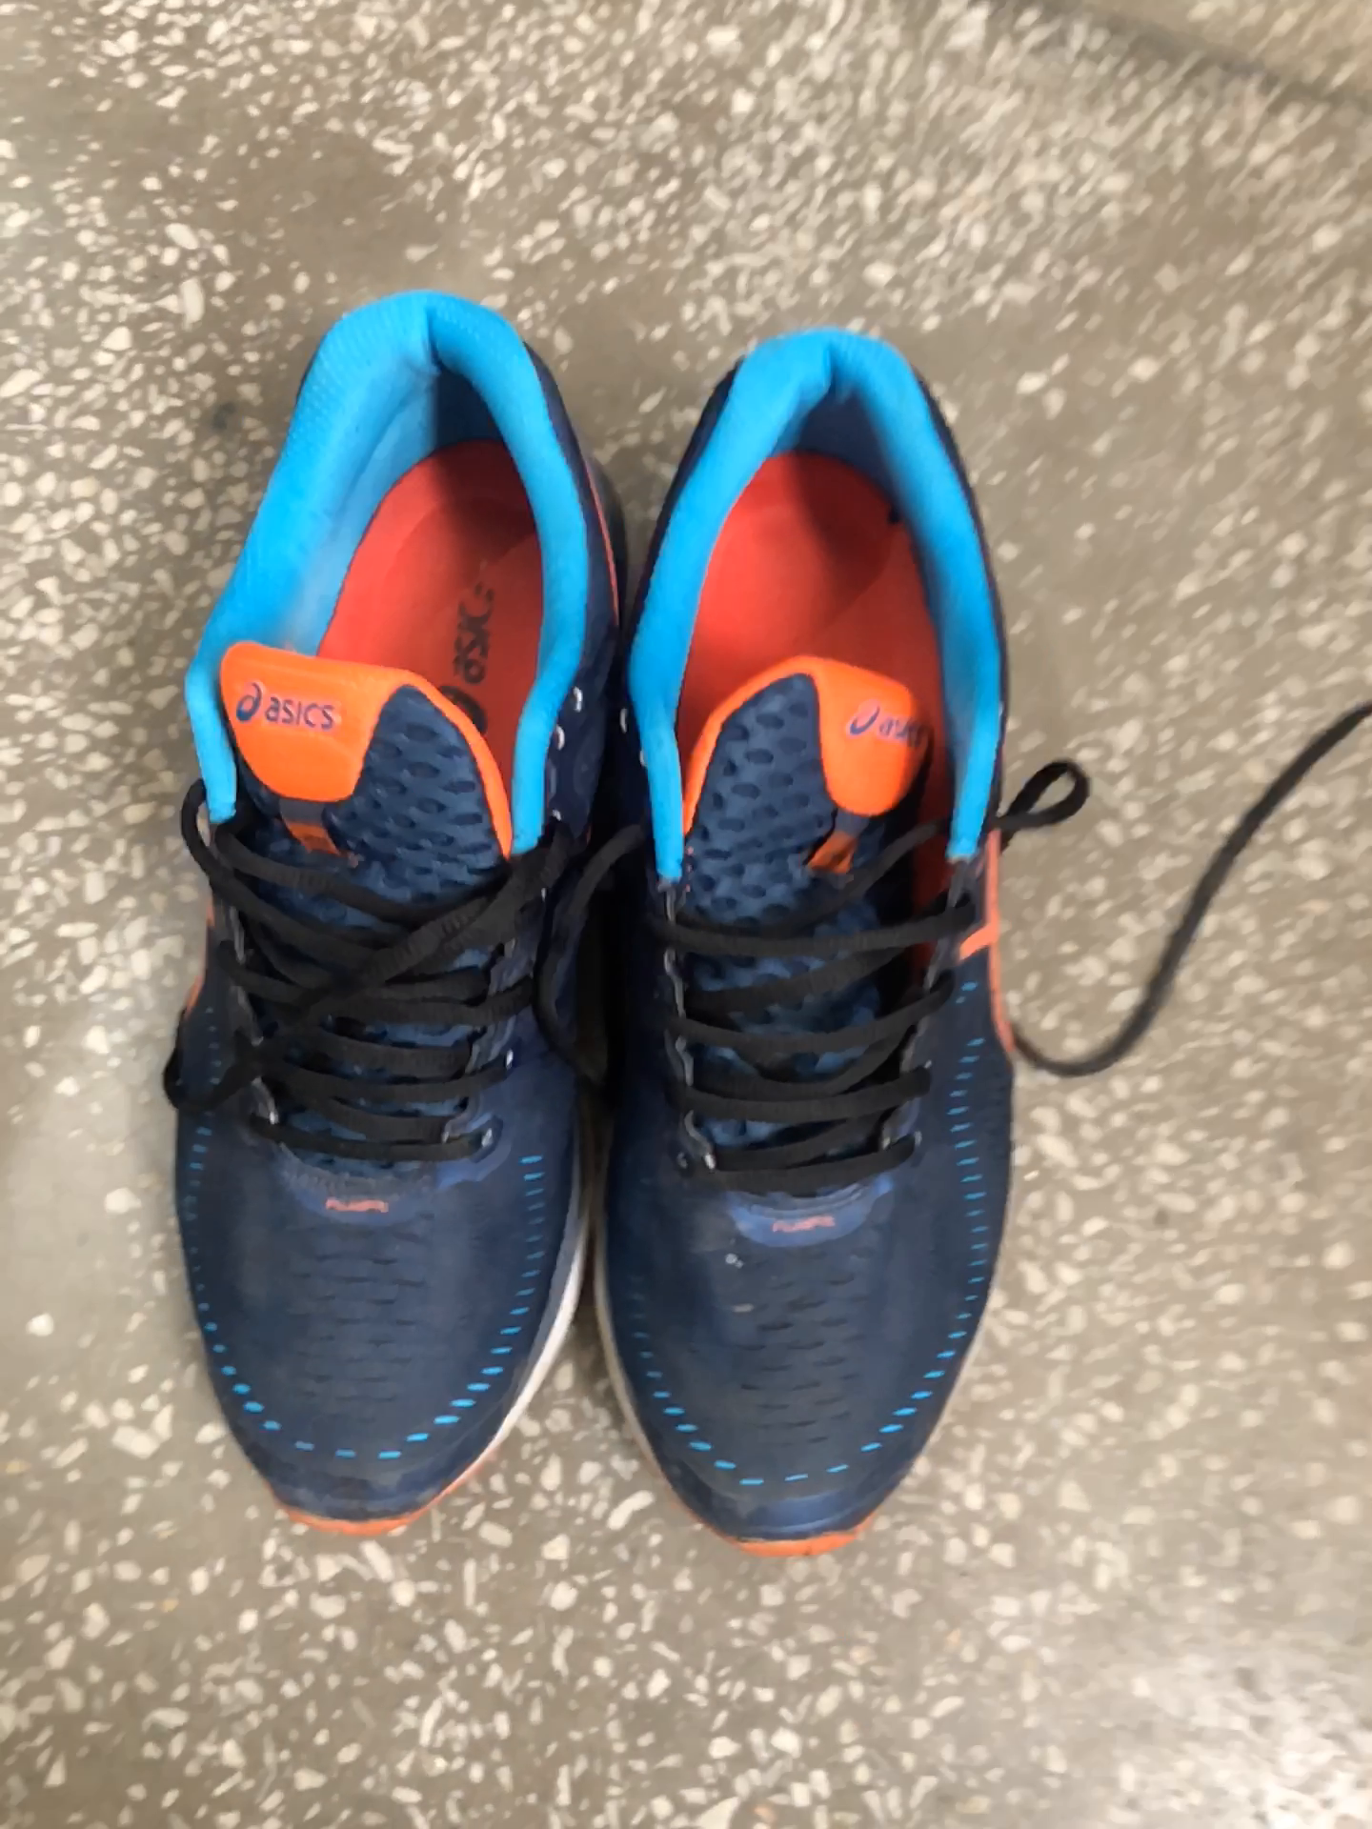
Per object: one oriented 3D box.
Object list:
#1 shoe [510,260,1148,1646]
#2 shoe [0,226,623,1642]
[{"bbox_3d":[0.027,0.005,0.363,0.118,0.100,0.288,1,77,-2],"label":"shoe"},{"bbox_3d":[-0.082,0.001,0.359,0.118,0.100,0.288,3,77,-1],"label":"shoe"}]
